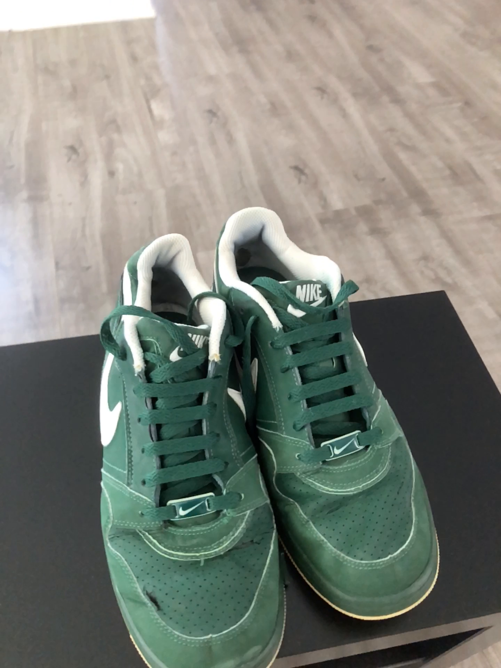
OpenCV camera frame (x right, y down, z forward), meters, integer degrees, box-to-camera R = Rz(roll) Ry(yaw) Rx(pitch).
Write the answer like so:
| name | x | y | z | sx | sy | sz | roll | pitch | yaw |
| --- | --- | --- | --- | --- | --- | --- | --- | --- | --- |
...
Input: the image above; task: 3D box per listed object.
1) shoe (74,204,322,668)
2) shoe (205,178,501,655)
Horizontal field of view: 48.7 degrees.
| name | x | y | z | sx | sy | sz | roll | pitch | yaw |
| --- | --- | --- | --- | --- | --- | --- | --- | --- | --- |
| shoe | -0.048 | 0.059 | 0.351 | 0.100 | 0.100 | 0.293 | -8 | 55 | -8 |
| shoe | 0.052 | 0.033 | 0.363 | 0.110 | 0.100 | 0.281 | -10 | 55 | -9 |
